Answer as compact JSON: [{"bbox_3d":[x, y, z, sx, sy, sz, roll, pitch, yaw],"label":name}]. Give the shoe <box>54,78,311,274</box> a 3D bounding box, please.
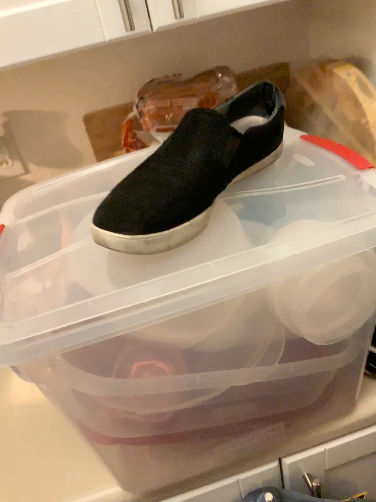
[{"bbox_3d":[0.015,-0.094,0.418,0.100,0.070,0.270,16,43,36],"label":"shoe"}]
